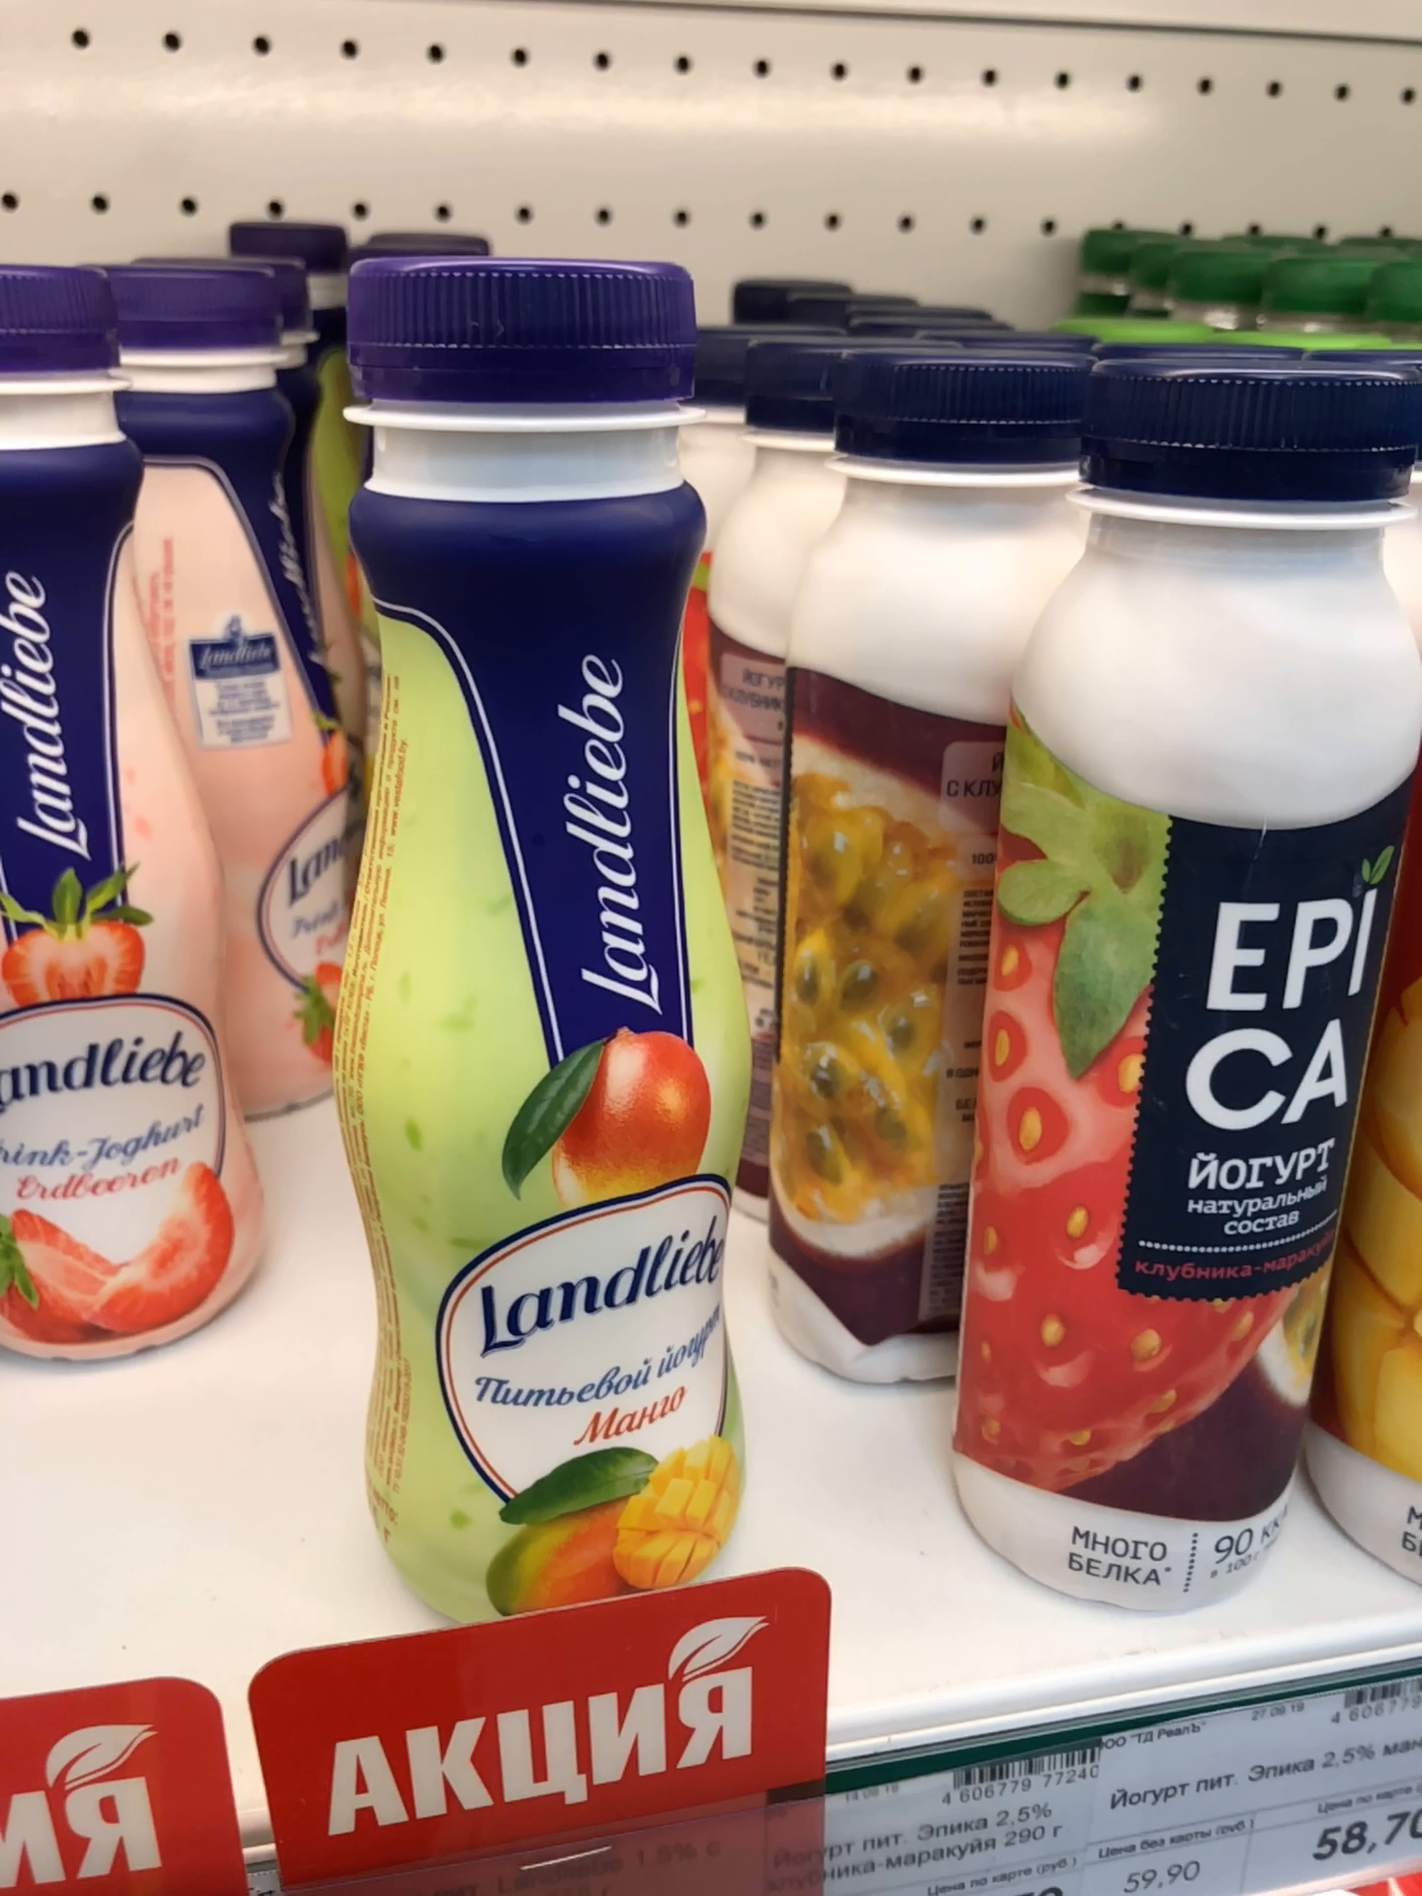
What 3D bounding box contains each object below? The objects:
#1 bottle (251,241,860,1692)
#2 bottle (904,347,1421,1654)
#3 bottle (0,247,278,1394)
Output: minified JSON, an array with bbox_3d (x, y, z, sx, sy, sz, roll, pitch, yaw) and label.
[{"bbox_3d":[-0.021,0.004,0.209,0.055,0.177,0.054,1,23,0],"label":"bottle"},{"bbox_3d":[0.064,0.010,0.221,0.051,0.173,0.048,1,23,0],"label":"bottle"},{"bbox_3d":[-0.112,-0.020,0.267,0.056,0.178,0.054,1,23,0],"label":"bottle"}]
